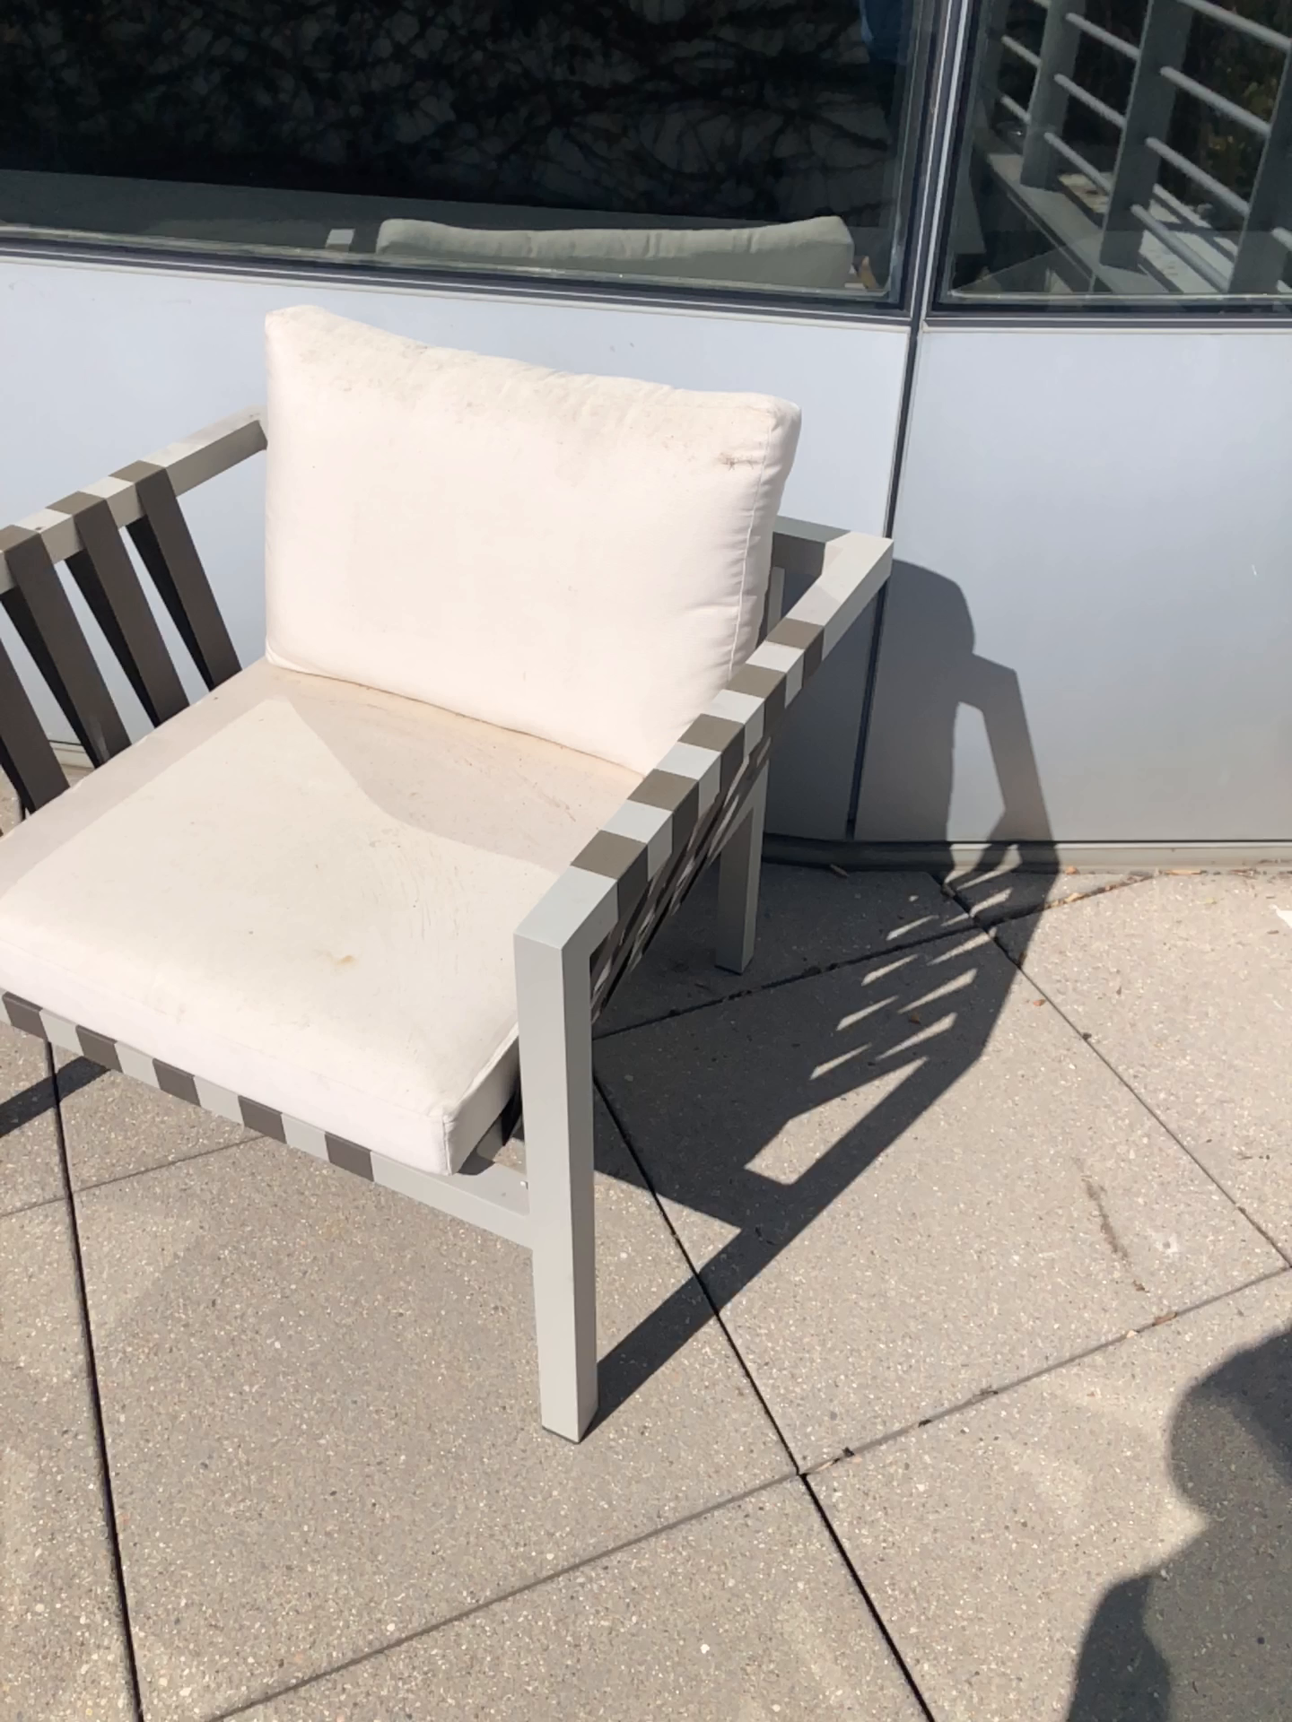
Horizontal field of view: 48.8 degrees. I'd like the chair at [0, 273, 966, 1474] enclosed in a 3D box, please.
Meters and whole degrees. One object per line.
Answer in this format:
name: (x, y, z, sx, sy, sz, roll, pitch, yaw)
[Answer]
chair: (-0.253, -0.073, 1.493, 0.871, 0.736, 0.783, 17, 41, 20)
